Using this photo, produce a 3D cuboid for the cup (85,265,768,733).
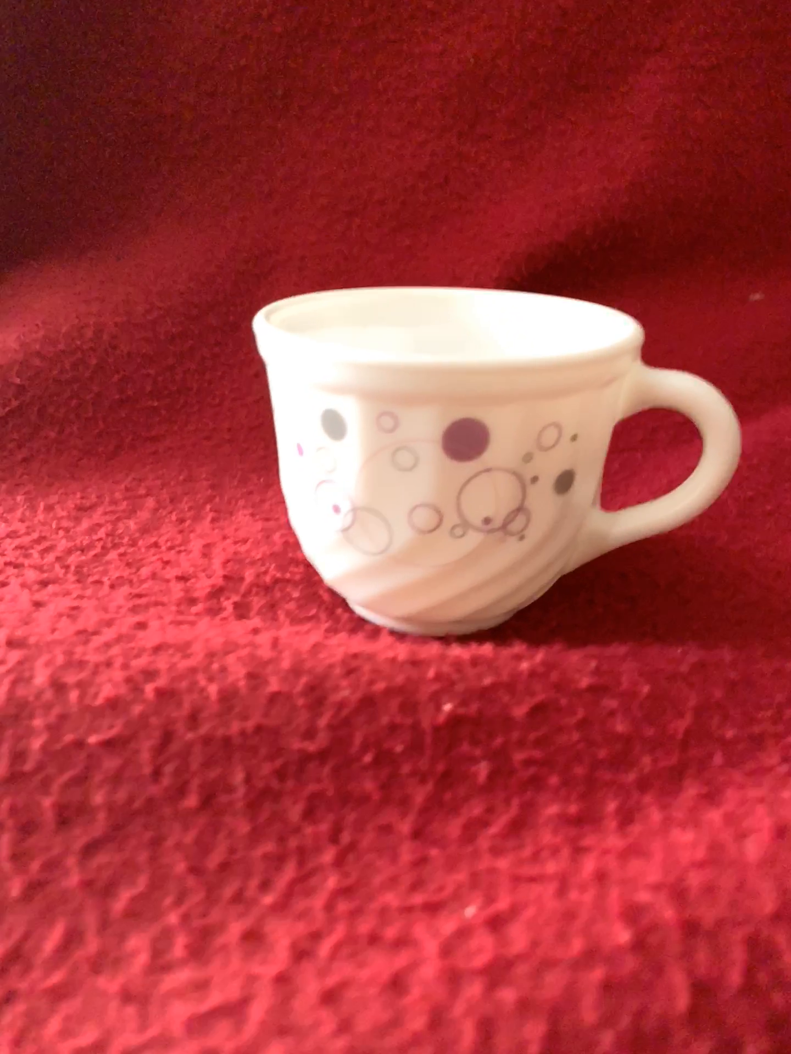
[{"bbox_3d":[0.011,-0.016,0.163,0.100,0.050,0.081,9,29,15],"label":"cup"}]
